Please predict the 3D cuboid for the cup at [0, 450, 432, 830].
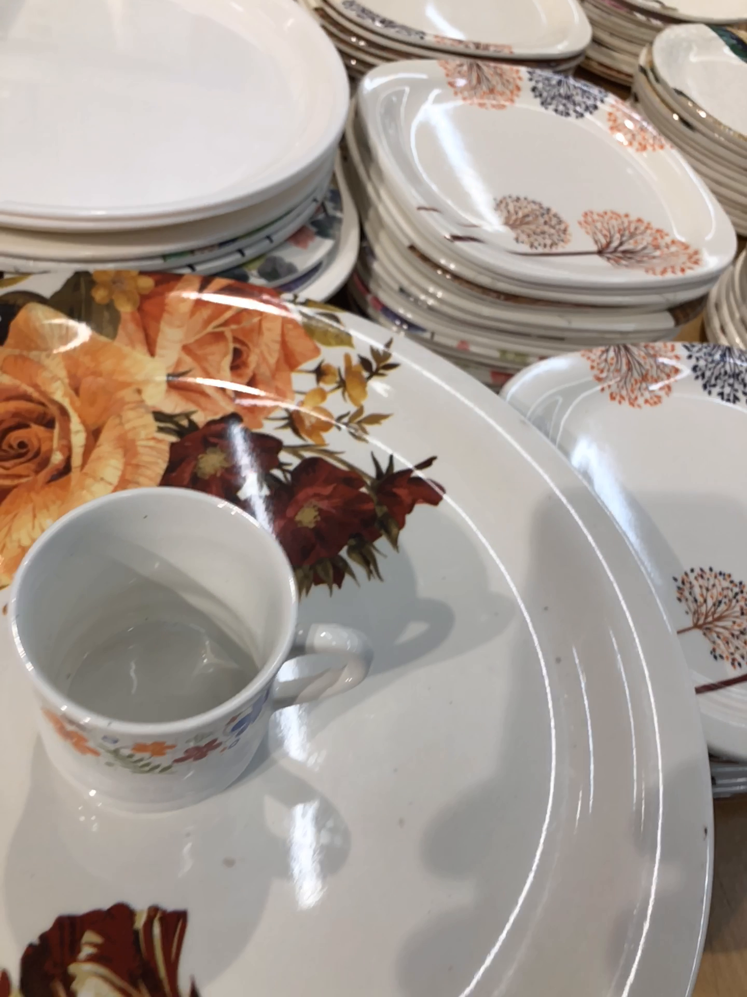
[{"bbox_3d":[-0.047,0.043,0.231,0.100,0.080,0.070,4,53,-13],"label":"cup"}]
